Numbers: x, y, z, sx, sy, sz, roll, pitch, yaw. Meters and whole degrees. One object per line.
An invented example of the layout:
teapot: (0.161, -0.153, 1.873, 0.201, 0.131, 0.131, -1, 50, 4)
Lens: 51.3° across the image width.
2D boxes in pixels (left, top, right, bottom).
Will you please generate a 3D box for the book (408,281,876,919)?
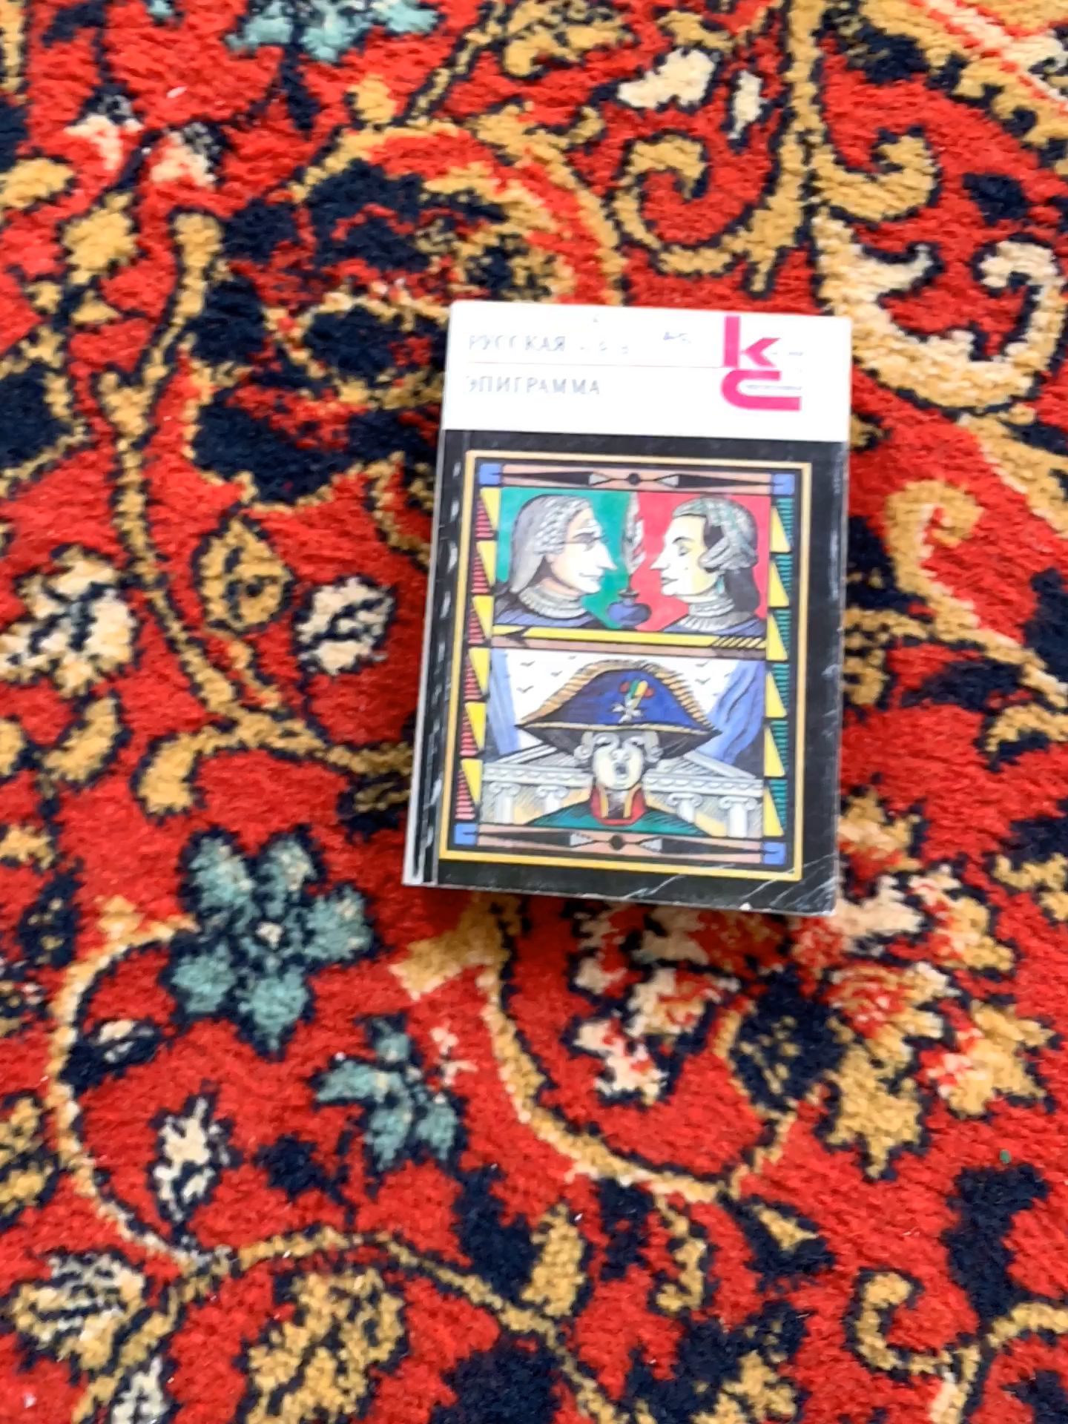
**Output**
book: (0.030, -0.032, 0.298, 0.110, 0.022, 0.163, 4, 81, 4)
